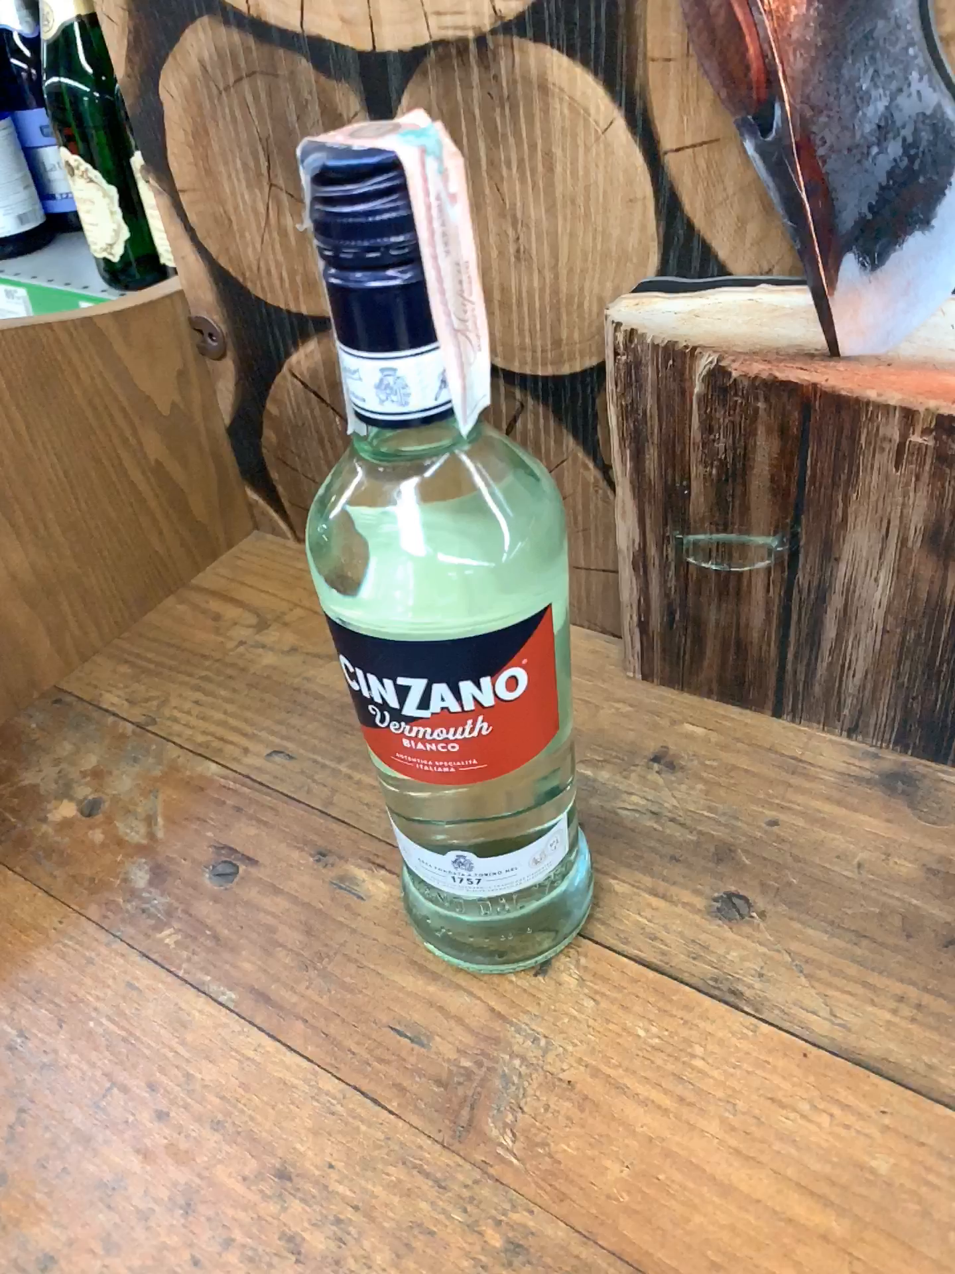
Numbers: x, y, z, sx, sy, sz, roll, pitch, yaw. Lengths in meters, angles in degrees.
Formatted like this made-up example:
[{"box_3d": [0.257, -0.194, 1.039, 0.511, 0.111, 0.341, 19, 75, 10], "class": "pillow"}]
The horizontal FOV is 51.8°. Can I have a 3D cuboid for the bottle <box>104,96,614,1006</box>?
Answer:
[{"box_3d": [-0.009, -0.004, 0.260, 0.070, 0.231, 0.070, -5, 39, 4], "class": "bottle"}]
